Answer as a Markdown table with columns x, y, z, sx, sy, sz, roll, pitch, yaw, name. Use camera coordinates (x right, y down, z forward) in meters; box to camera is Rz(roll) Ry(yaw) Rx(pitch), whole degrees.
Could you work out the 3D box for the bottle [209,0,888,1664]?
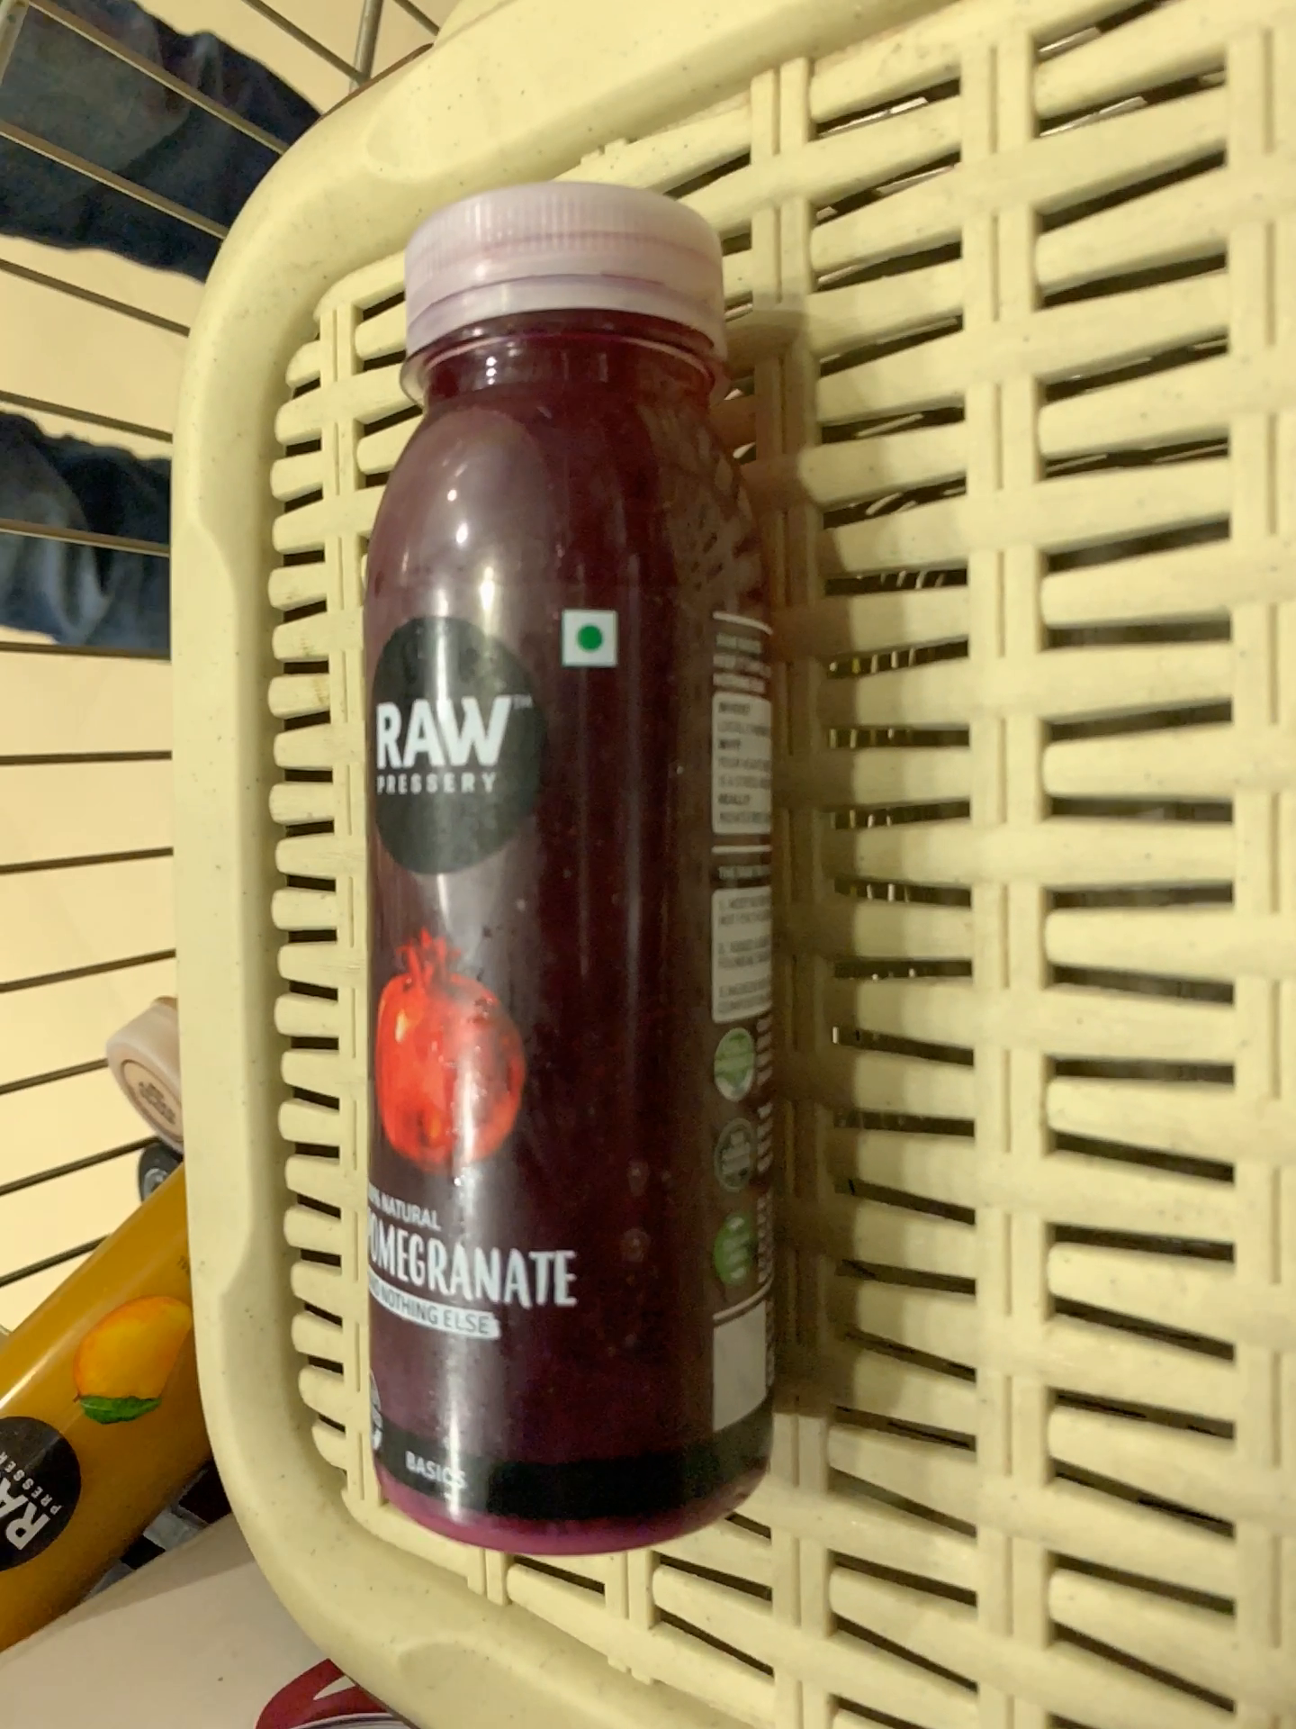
| x | y | z | sx | sy | sz | roll | pitch | yaw | name |
| --- | --- | --- | --- | --- | --- | --- | --- | --- | --- |
| -0.011 | -0.007 | 0.159 | 0.060 | 0.050 | 0.160 | 2 | 94 | 37 | bottle |
